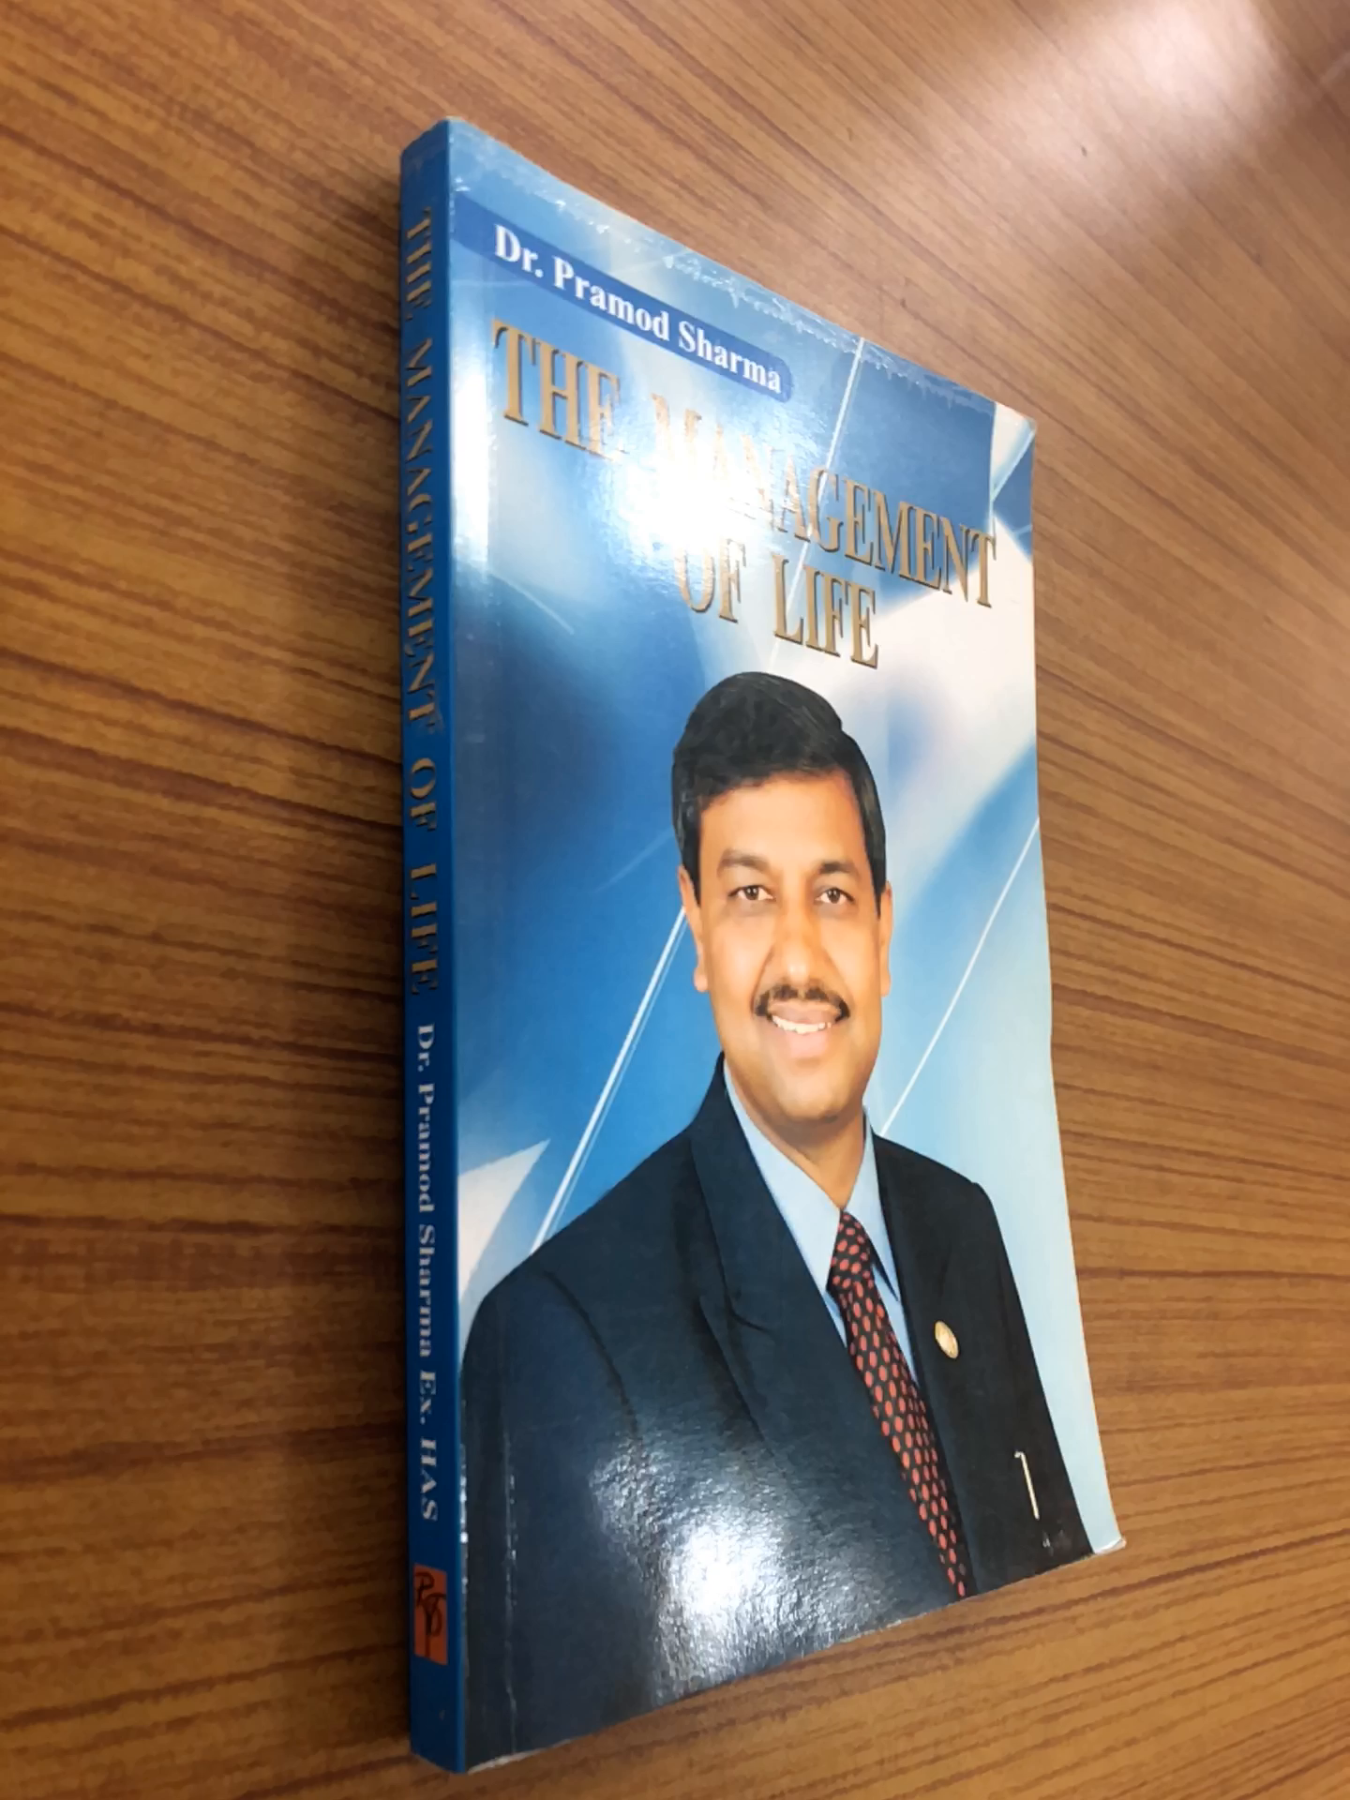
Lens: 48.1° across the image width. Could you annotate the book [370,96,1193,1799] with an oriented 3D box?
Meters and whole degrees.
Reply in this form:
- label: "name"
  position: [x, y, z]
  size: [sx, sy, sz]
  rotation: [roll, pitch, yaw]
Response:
- label: "book"
  position: [0.024, 0.007, 0.237]
  size: [0.151, 0.020, 0.210]
  rotation: [7, 77, -42]
